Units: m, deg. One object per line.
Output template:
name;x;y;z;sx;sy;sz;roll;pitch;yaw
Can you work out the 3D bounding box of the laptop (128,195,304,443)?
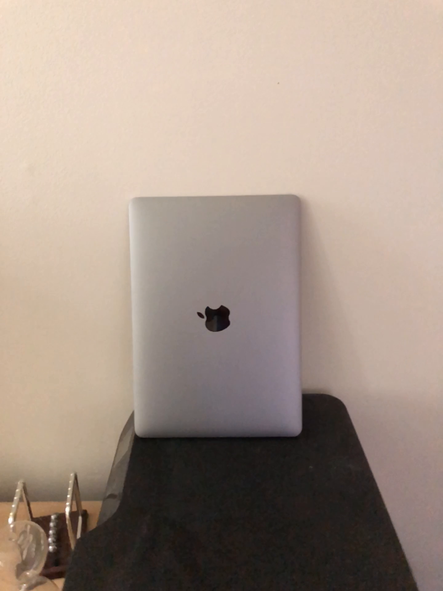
laptop;-0.006;0.029;0.560;0.196;0.275;0.002;-1;3;1
